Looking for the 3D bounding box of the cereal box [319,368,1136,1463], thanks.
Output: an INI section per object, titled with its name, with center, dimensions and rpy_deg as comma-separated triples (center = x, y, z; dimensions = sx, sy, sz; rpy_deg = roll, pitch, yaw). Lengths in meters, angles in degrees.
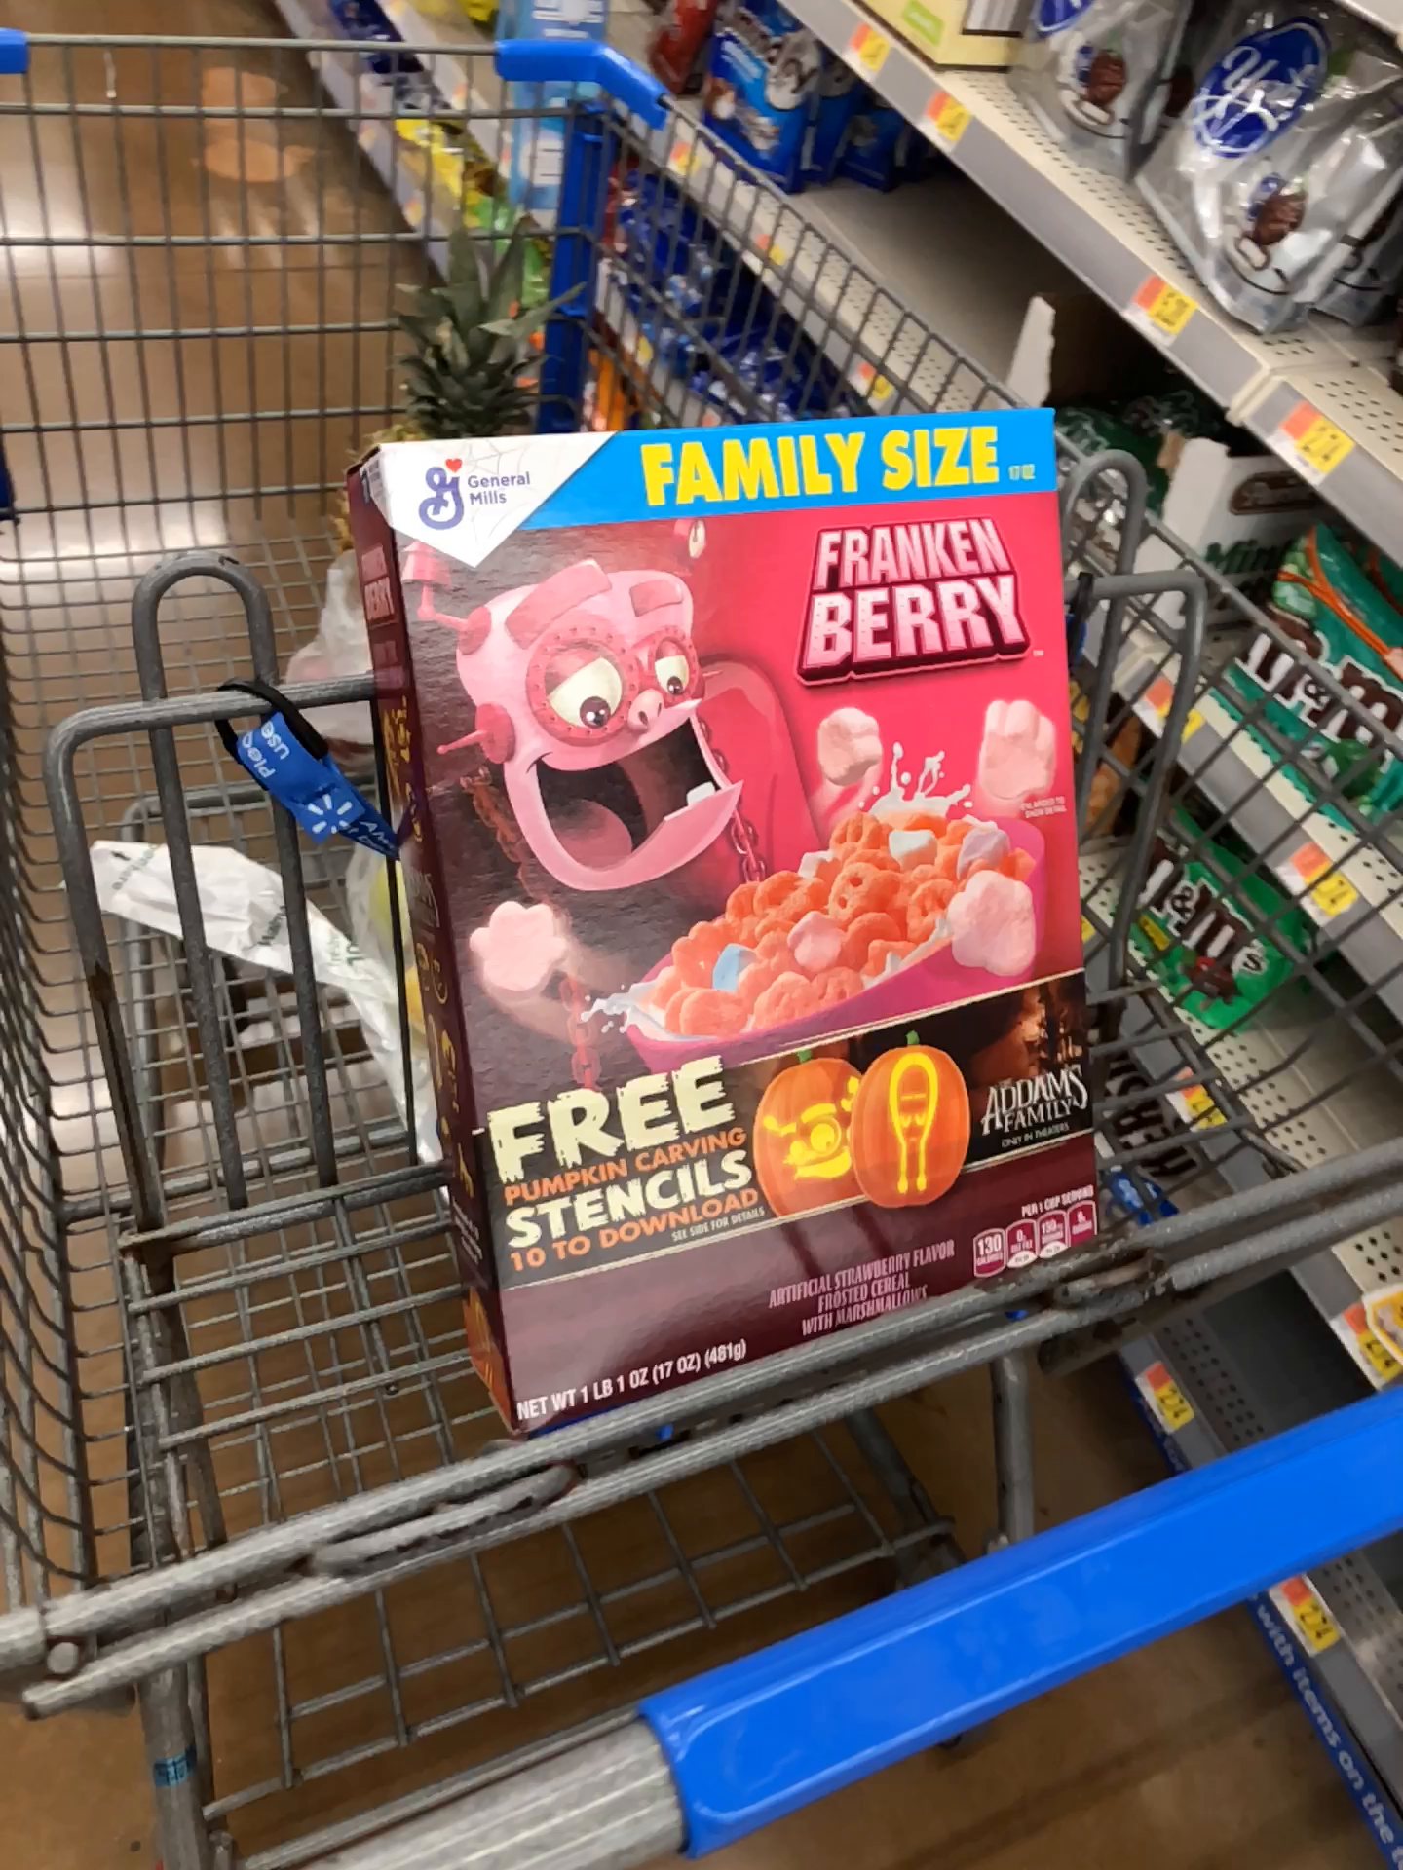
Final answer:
[cereal box]
center = 0.020, -0.015, 0.531
dimensions = 0.240, 0.320, 0.070
rpy_deg = -11, 12, -21
